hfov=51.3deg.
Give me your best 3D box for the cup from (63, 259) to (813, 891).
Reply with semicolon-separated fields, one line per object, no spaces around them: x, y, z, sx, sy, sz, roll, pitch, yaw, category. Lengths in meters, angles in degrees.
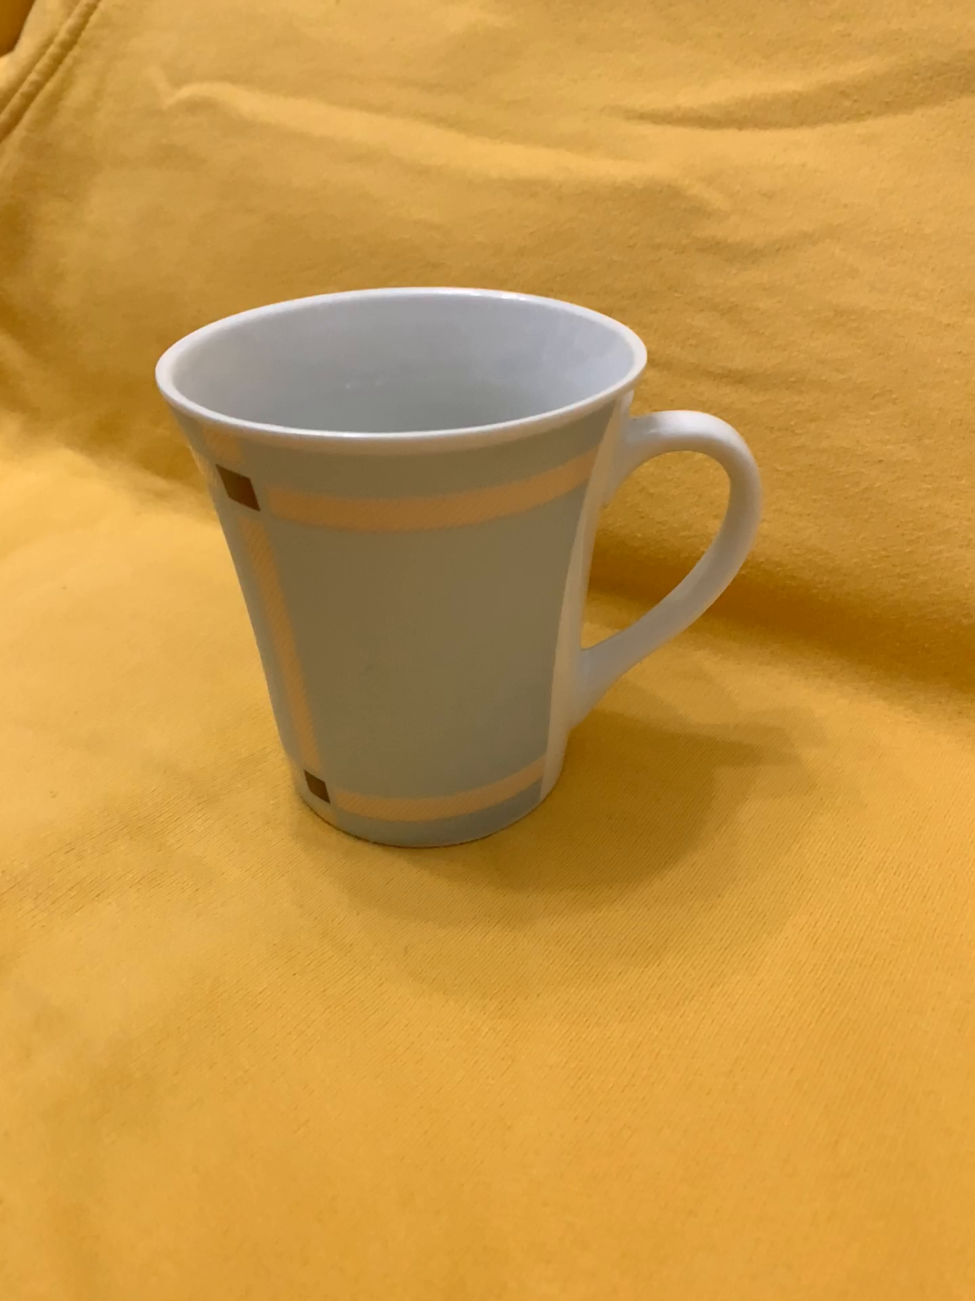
-0.004;-0.022;0.231;0.120;0.103;0.099;1;35;5;cup
